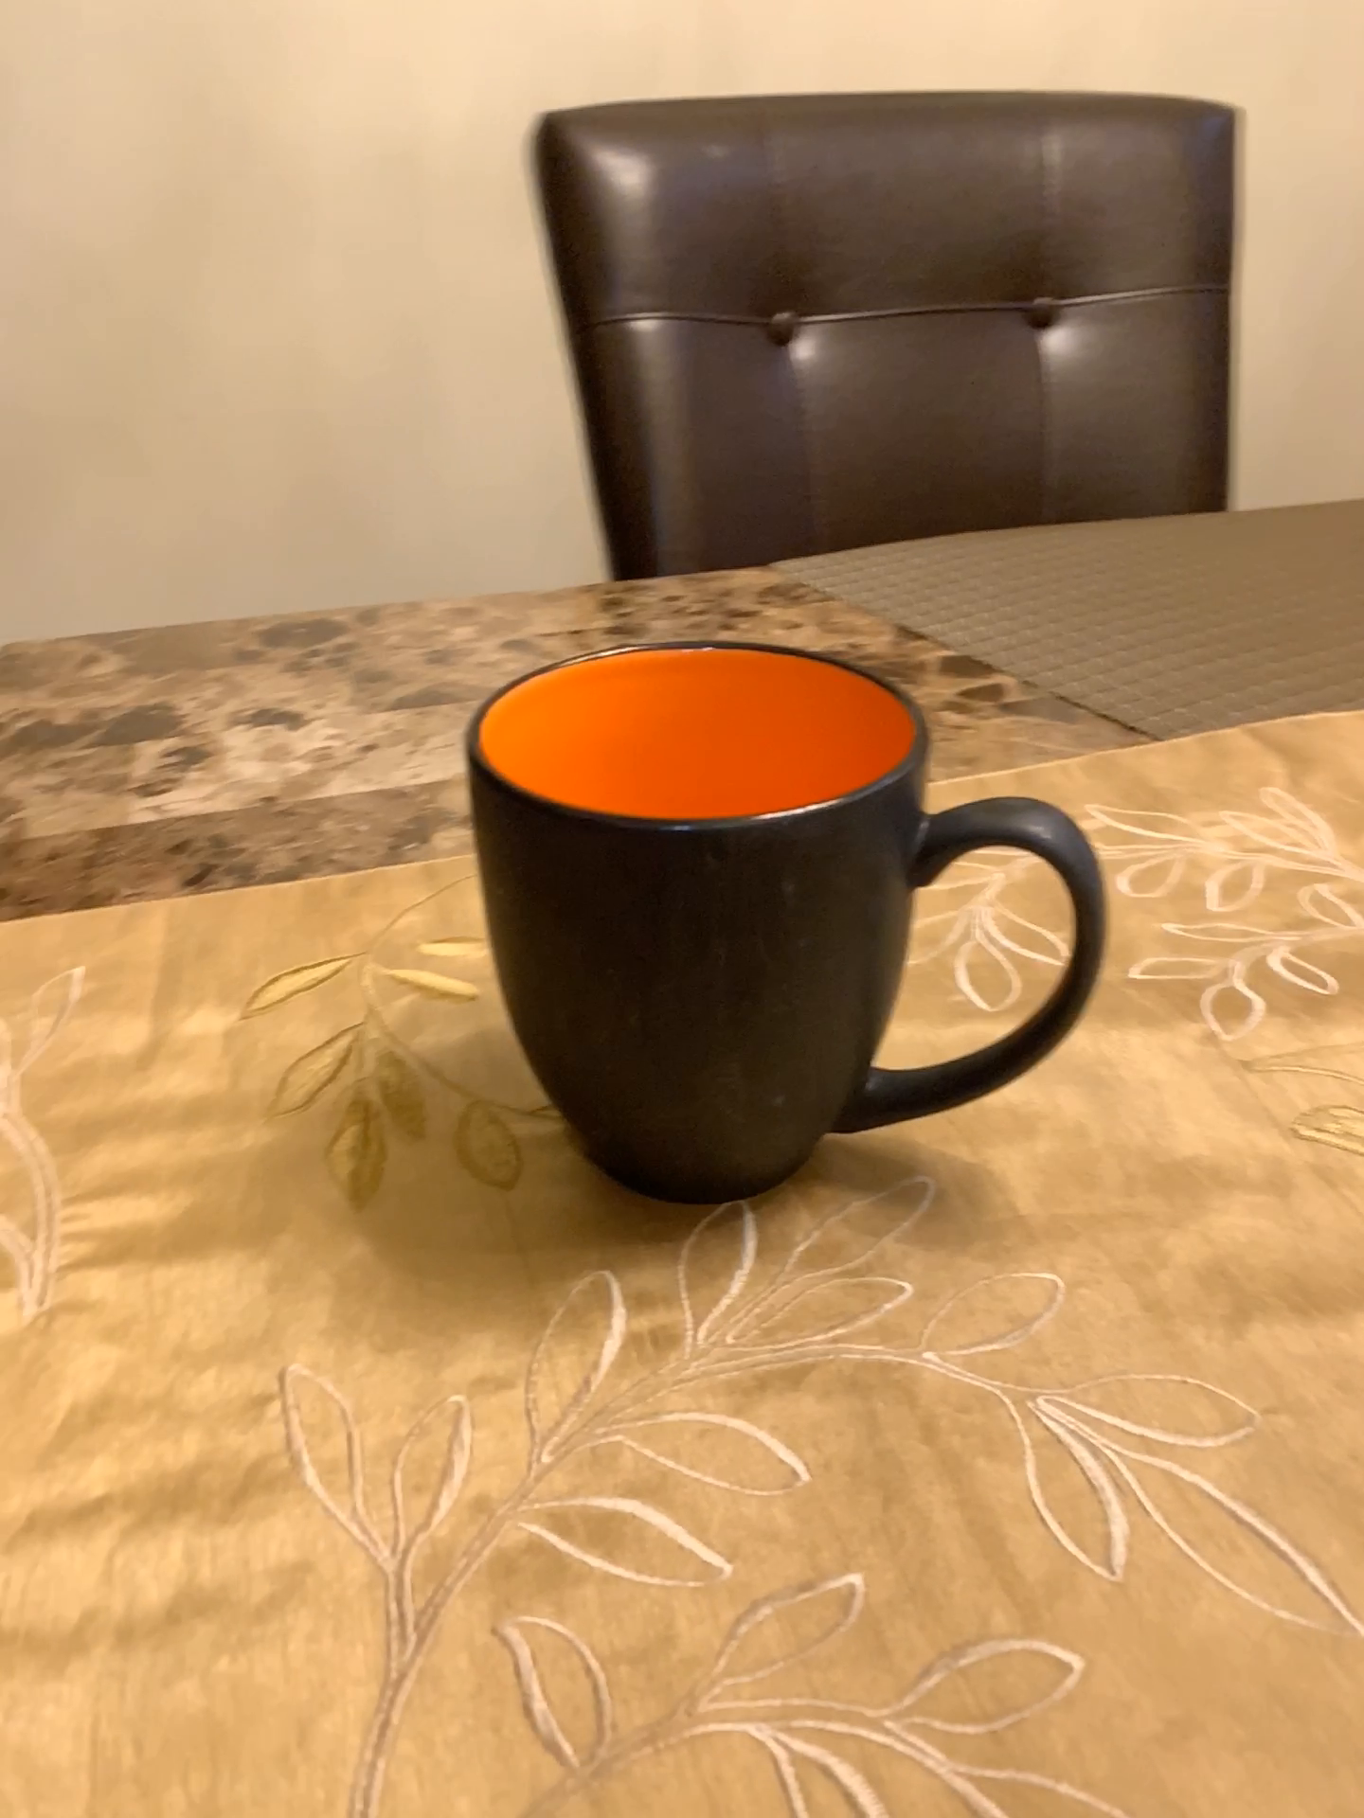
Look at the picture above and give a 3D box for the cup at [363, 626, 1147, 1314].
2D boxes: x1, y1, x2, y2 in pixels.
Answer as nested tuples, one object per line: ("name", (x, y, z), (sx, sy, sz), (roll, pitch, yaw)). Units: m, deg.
("cup", (0.021, 0.003, 0.301), (0.132, 0.087, 0.100), (10, 31, 18))
